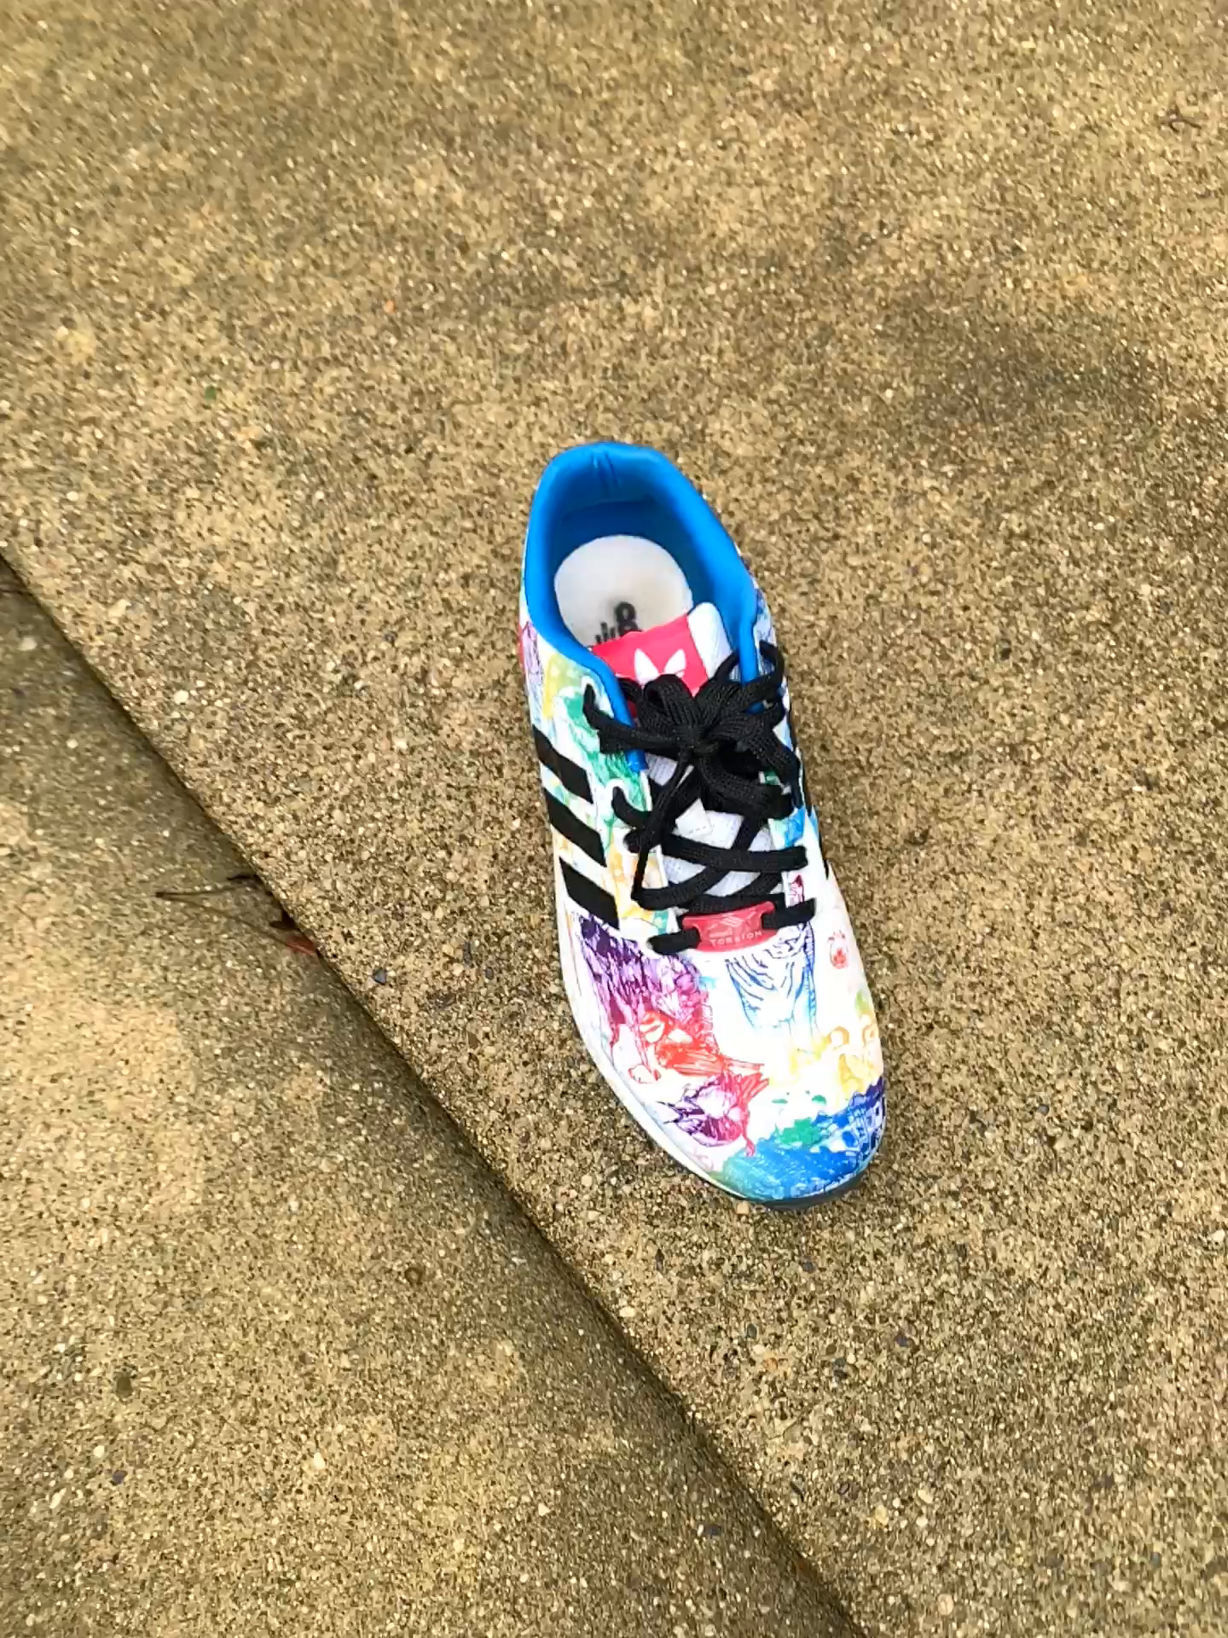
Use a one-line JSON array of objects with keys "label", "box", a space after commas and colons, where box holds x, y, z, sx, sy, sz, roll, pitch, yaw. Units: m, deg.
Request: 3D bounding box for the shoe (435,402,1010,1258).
[{"label": "shoe", "box": [0.025, 0.006, 0.422, 0.110, 0.105, 0.246, -13, 72, -3]}]
